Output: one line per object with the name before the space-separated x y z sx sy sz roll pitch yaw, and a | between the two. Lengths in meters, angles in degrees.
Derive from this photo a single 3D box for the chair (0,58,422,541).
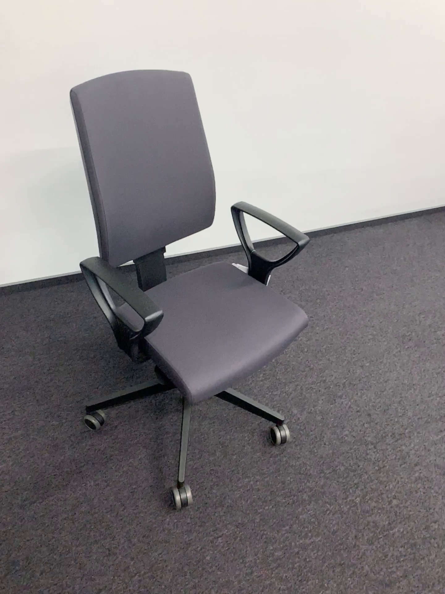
chair | -0.102 -0.044 1.377 0.702 1.034 0.782 -26 48 -34
